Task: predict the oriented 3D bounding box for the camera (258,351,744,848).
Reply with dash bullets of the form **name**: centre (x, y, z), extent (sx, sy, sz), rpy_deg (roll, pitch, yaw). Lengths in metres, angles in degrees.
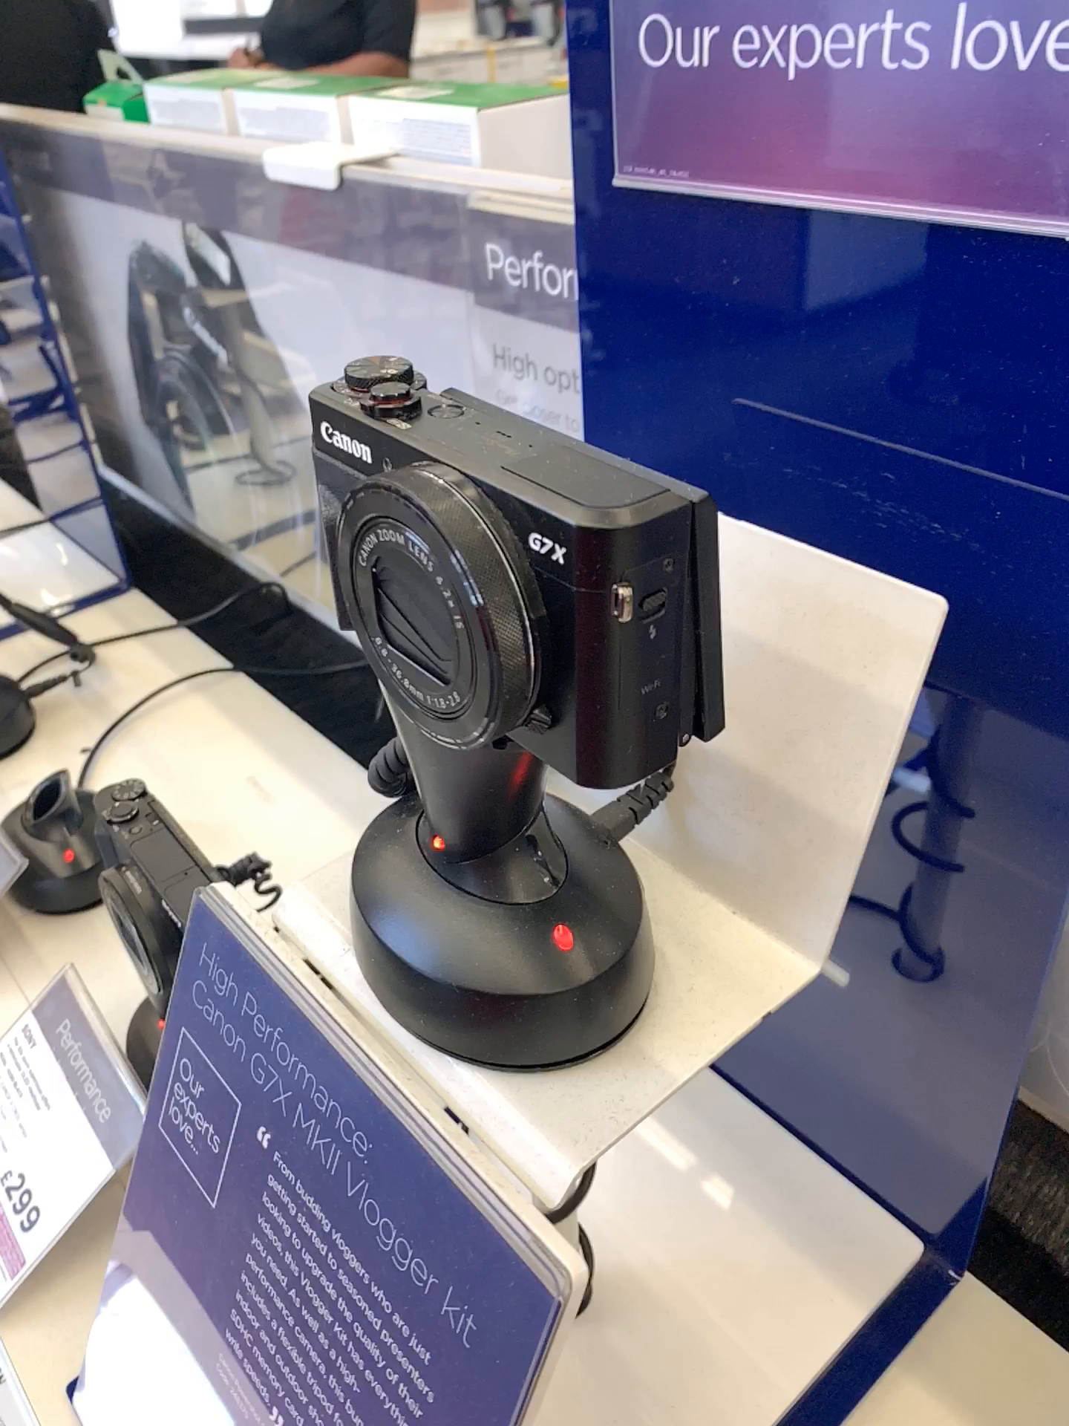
- **camera**: centre (-0.012, -0.030, 0.229), extent (0.038, 0.059, 0.109), rpy_deg (-23, 38, -29)
